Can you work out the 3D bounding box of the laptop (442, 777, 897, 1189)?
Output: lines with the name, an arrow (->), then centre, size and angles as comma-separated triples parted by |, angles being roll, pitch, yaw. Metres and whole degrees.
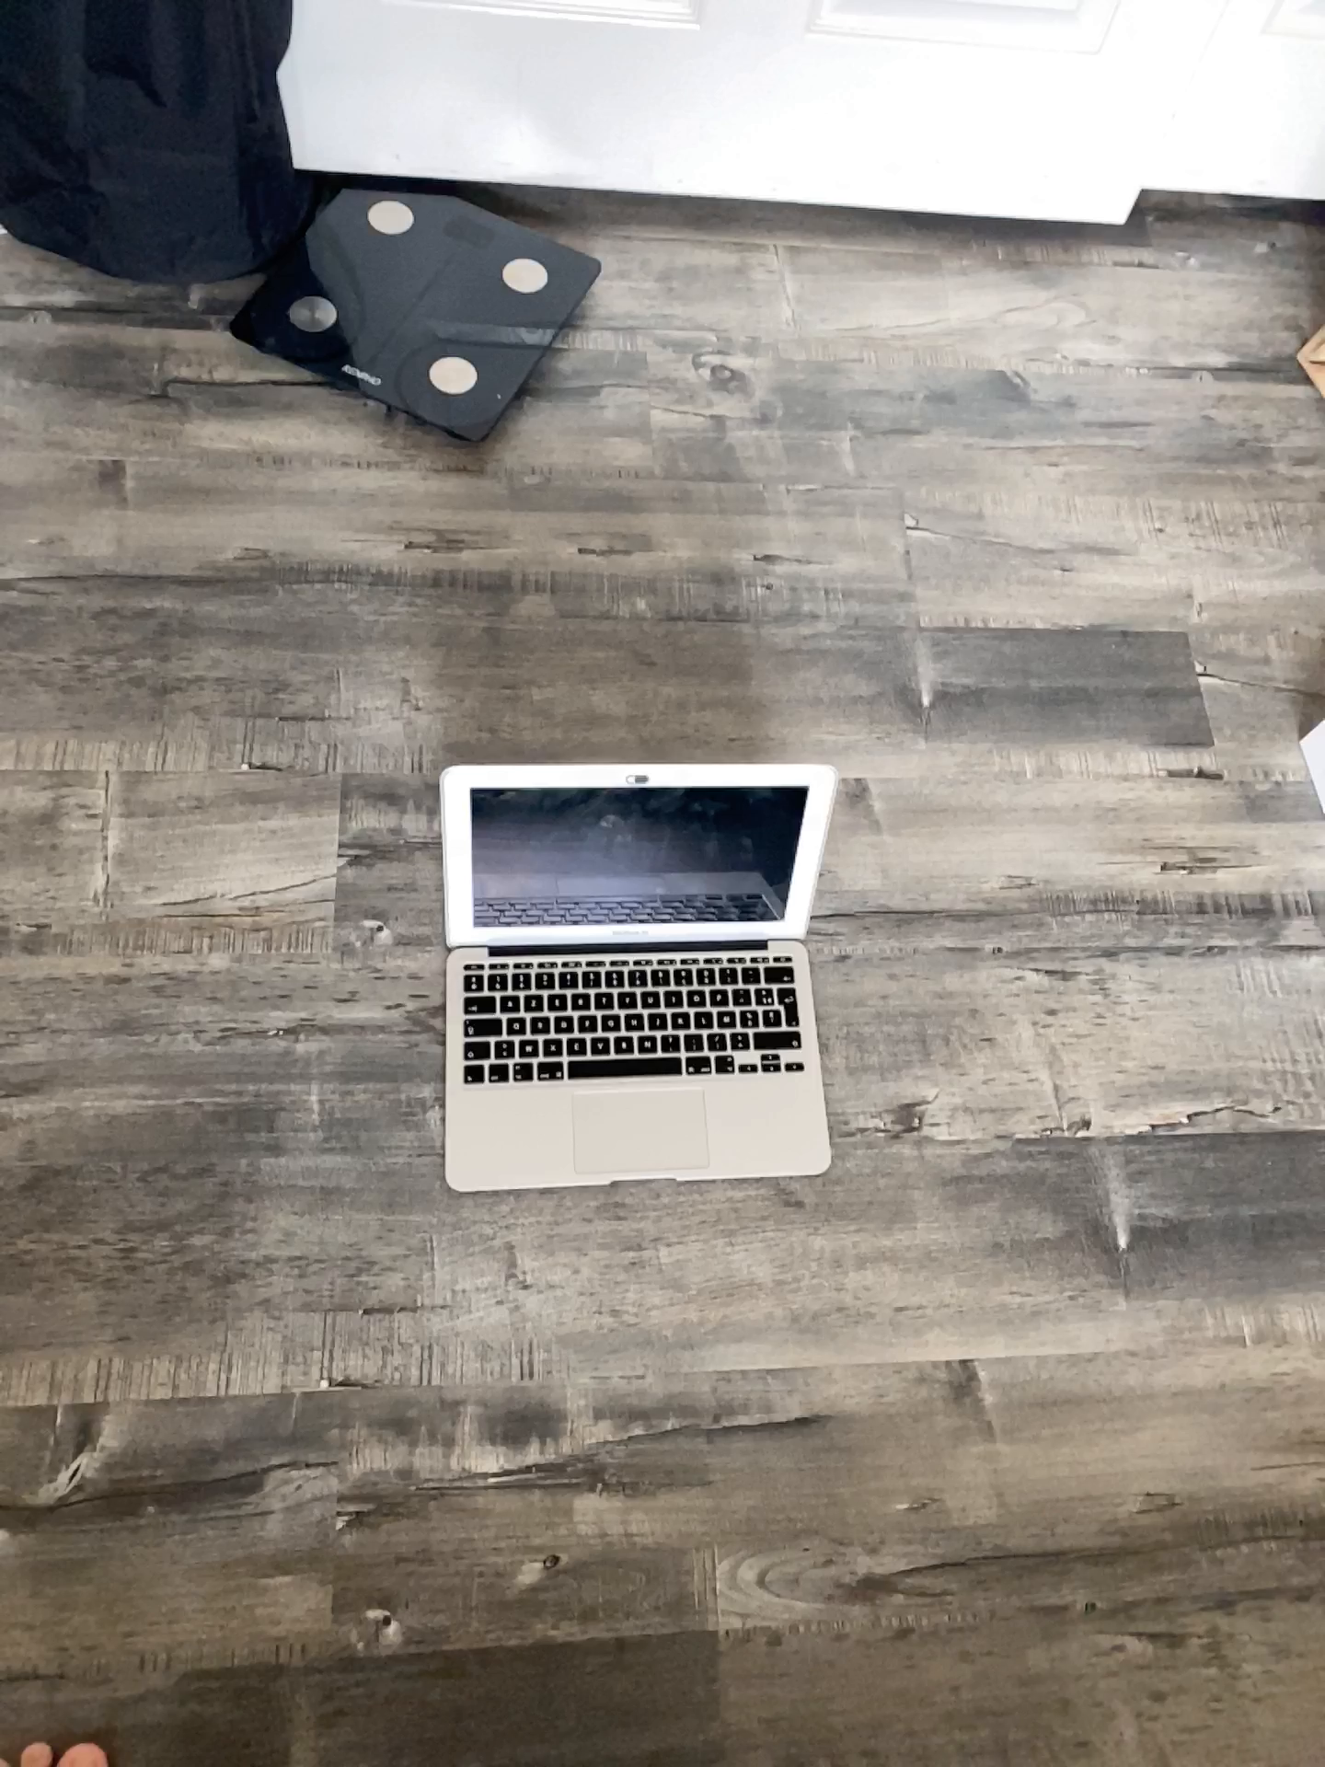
laptop -> -0.011, 0.071, 0.981 | 0.290, 0.159, 0.255 | -1, 64, -8
